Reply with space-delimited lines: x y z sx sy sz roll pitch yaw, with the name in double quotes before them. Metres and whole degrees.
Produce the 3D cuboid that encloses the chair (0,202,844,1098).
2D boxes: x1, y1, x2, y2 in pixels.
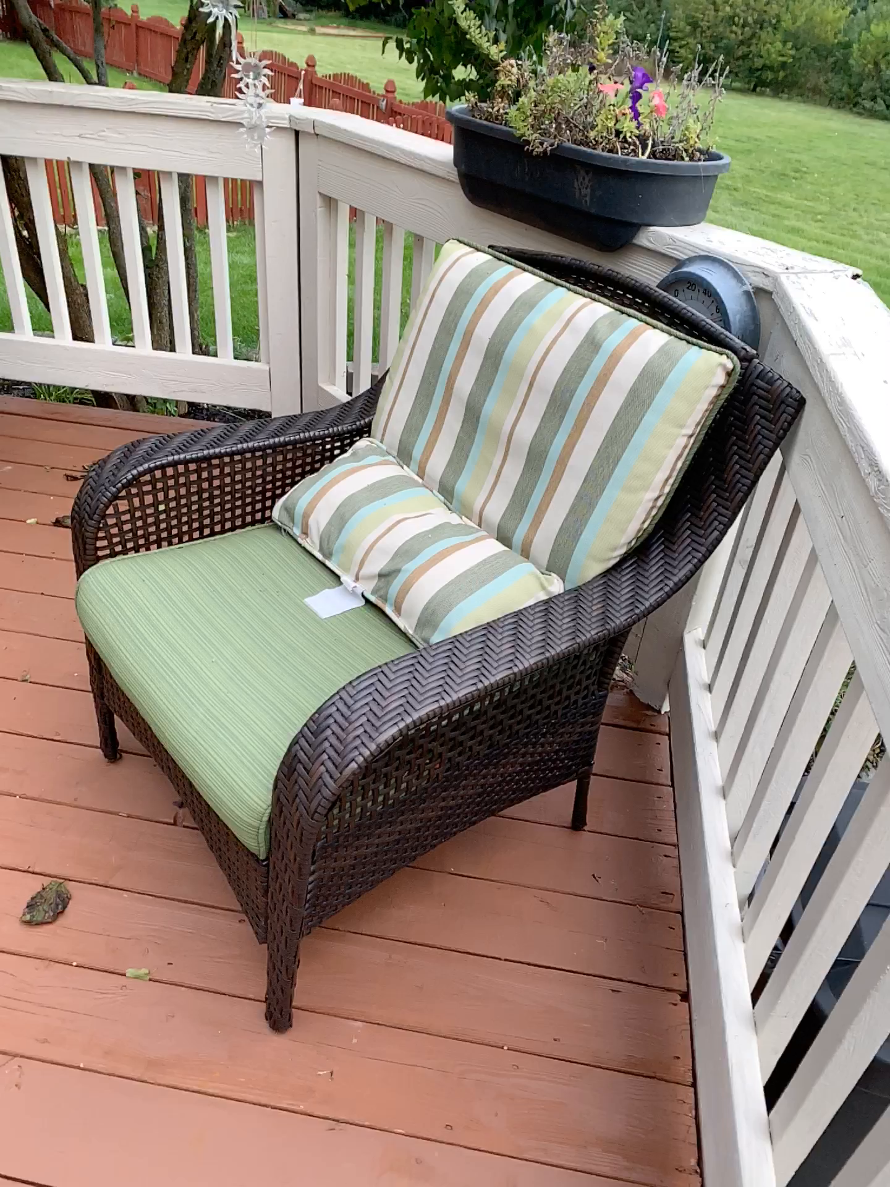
"chair" -0.125 -0.046 1.375 0.861 0.824 0.814 -19 41 -32
